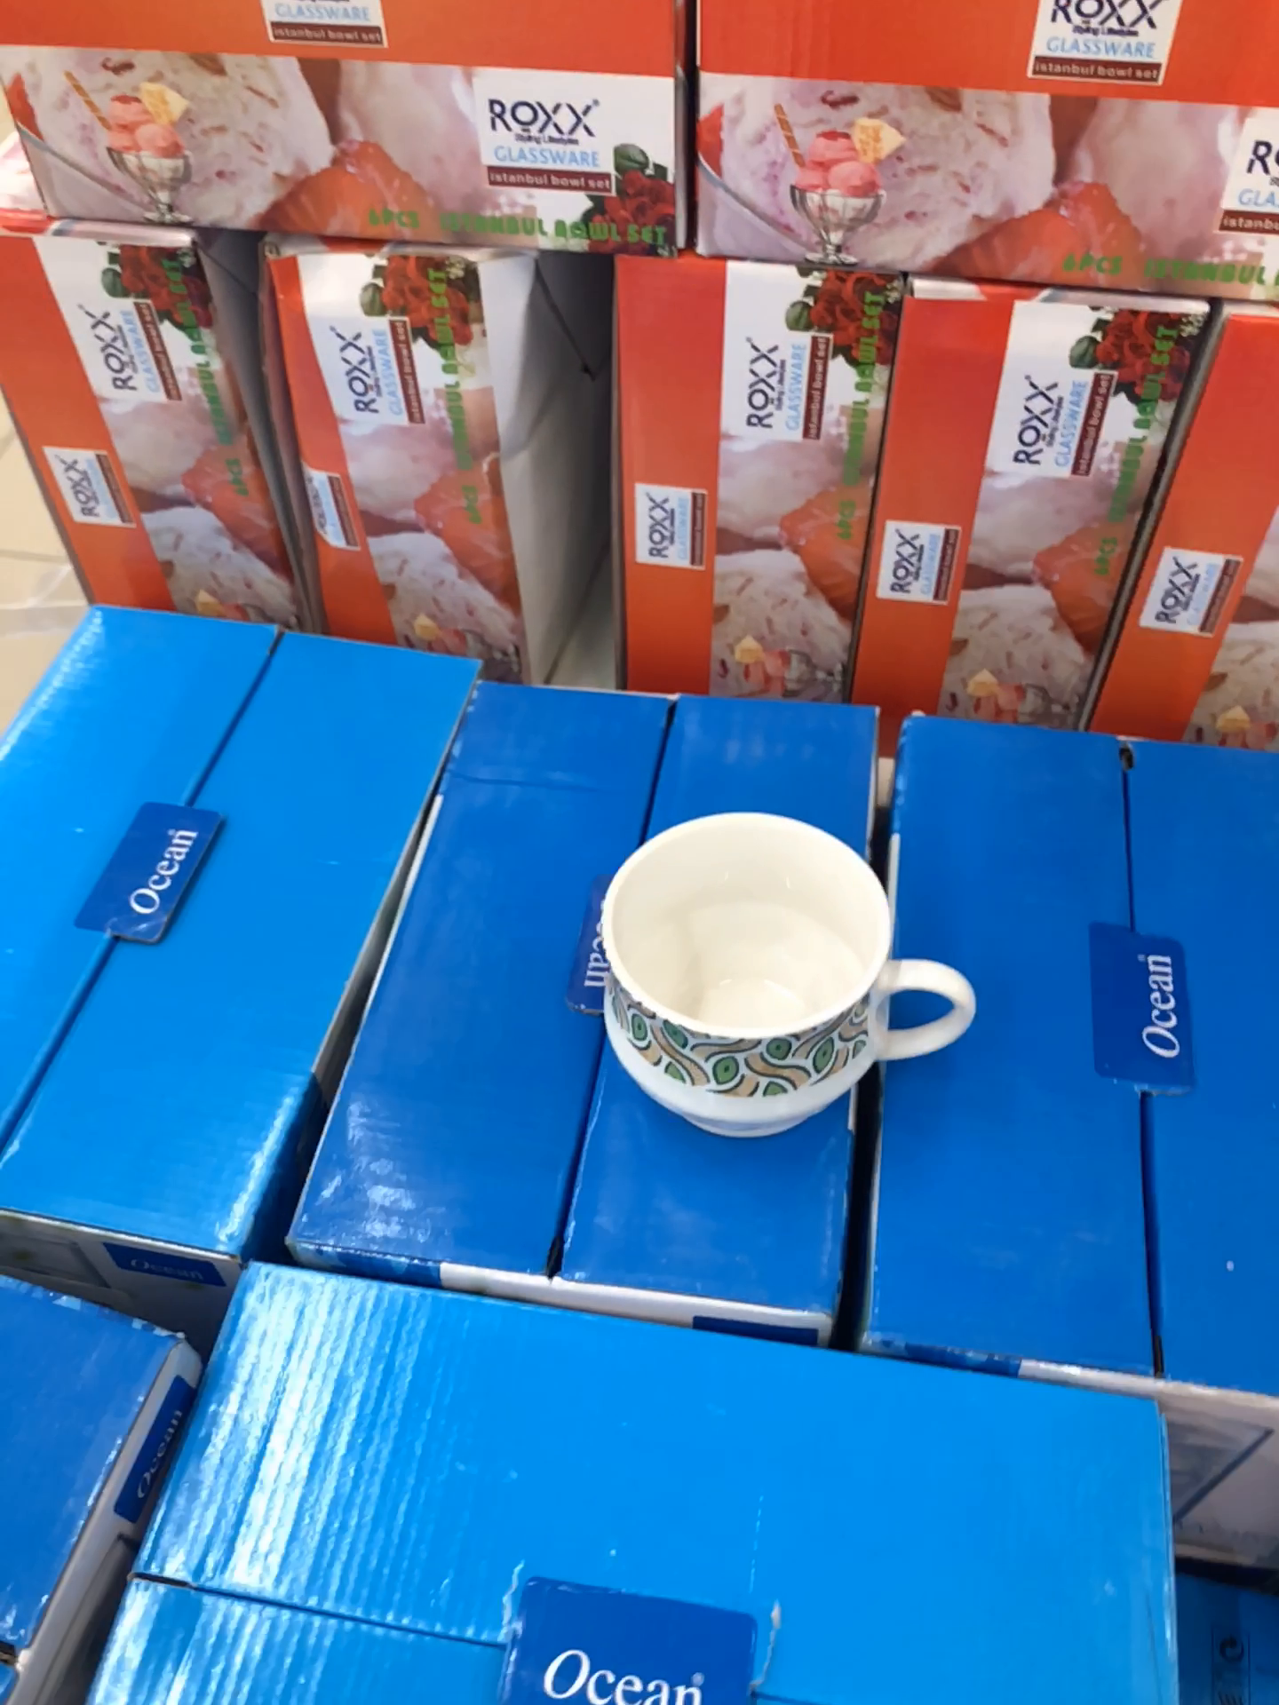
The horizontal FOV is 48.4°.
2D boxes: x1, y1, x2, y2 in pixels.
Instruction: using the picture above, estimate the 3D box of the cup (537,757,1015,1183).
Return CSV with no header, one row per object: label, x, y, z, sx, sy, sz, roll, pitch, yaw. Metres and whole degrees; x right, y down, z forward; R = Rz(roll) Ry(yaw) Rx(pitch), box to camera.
cup,0.033,0.028,0.342,0.100,0.060,0.070,6,51,6
